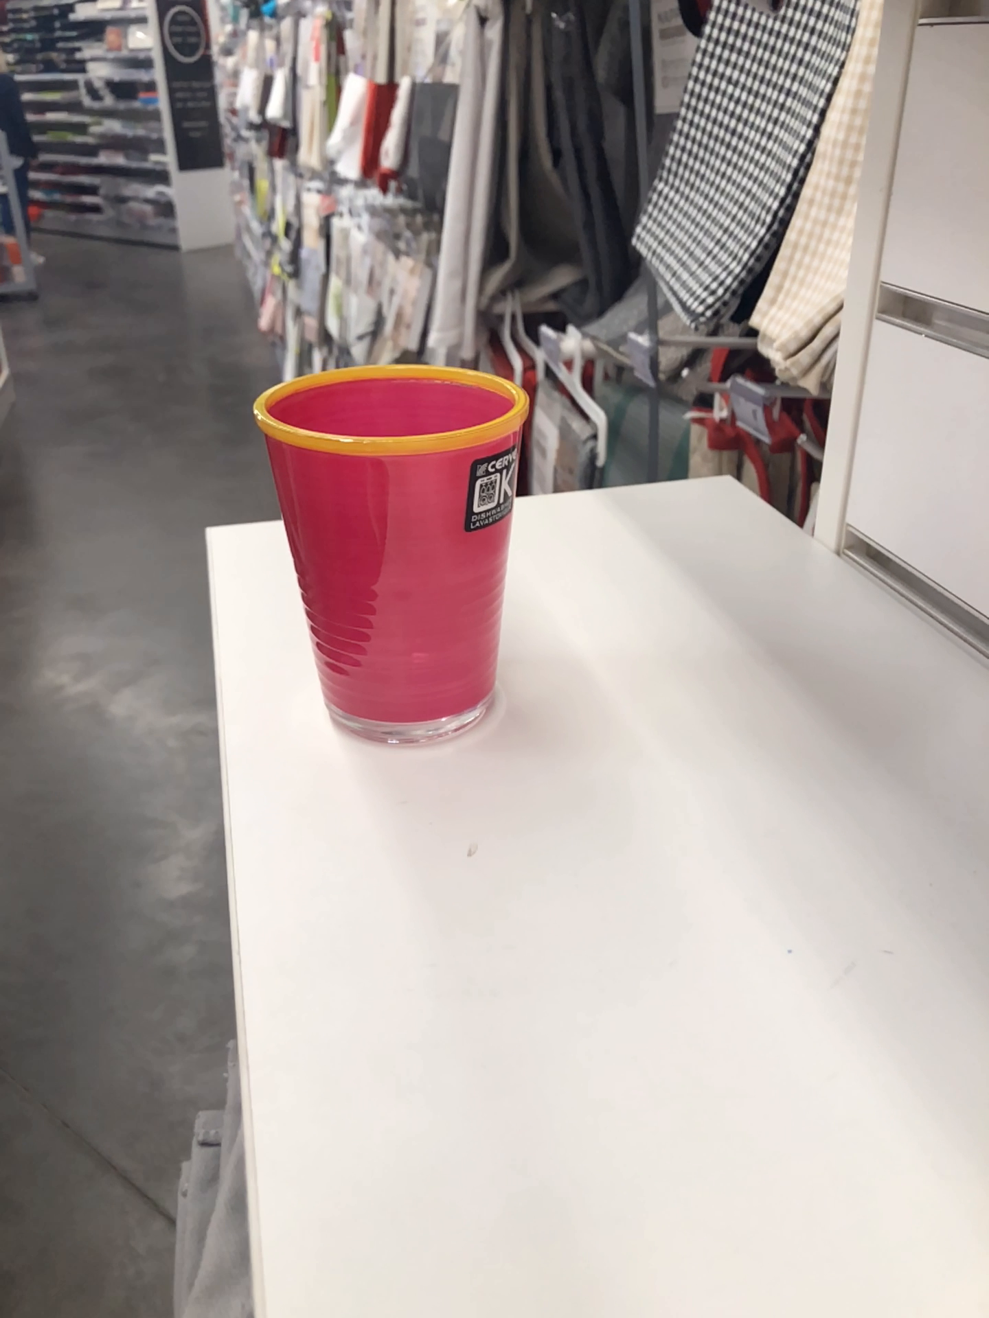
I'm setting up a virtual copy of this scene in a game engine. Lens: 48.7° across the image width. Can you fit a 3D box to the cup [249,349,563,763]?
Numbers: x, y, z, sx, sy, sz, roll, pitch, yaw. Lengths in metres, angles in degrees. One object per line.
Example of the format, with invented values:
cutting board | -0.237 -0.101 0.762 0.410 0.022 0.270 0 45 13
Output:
cup | -0.027 -0.035 0.331 0.079 0.094 0.085 -1 28 0
